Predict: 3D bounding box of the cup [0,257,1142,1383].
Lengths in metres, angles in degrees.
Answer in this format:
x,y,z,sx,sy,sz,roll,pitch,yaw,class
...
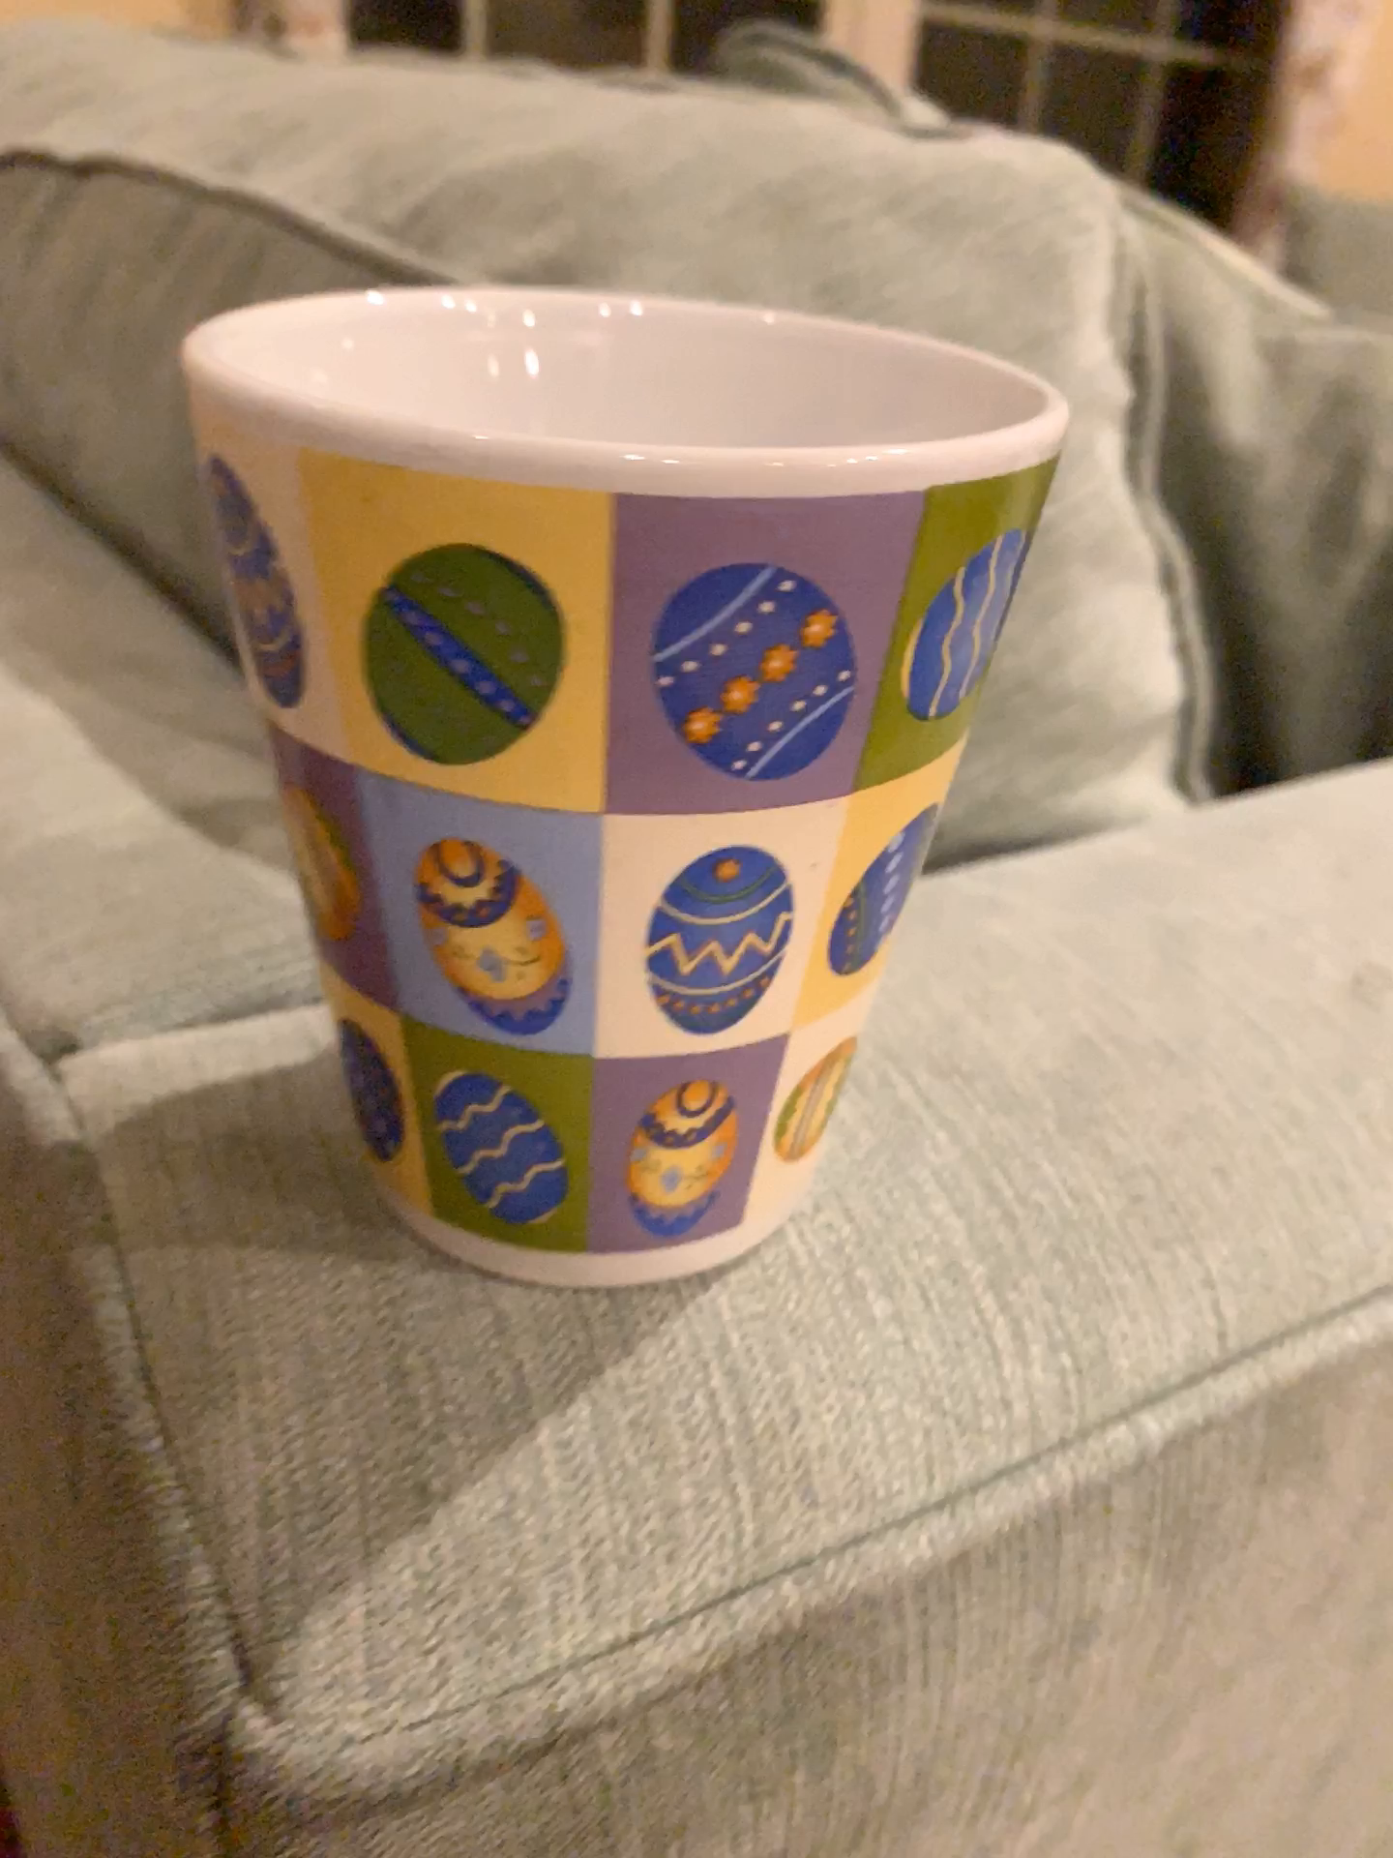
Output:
x,y,z,sx,sy,sz,roll,pitch,yaw,class
-0.004,-0.029,0.188,0.095,0.087,0.123,10,29,9,cup
